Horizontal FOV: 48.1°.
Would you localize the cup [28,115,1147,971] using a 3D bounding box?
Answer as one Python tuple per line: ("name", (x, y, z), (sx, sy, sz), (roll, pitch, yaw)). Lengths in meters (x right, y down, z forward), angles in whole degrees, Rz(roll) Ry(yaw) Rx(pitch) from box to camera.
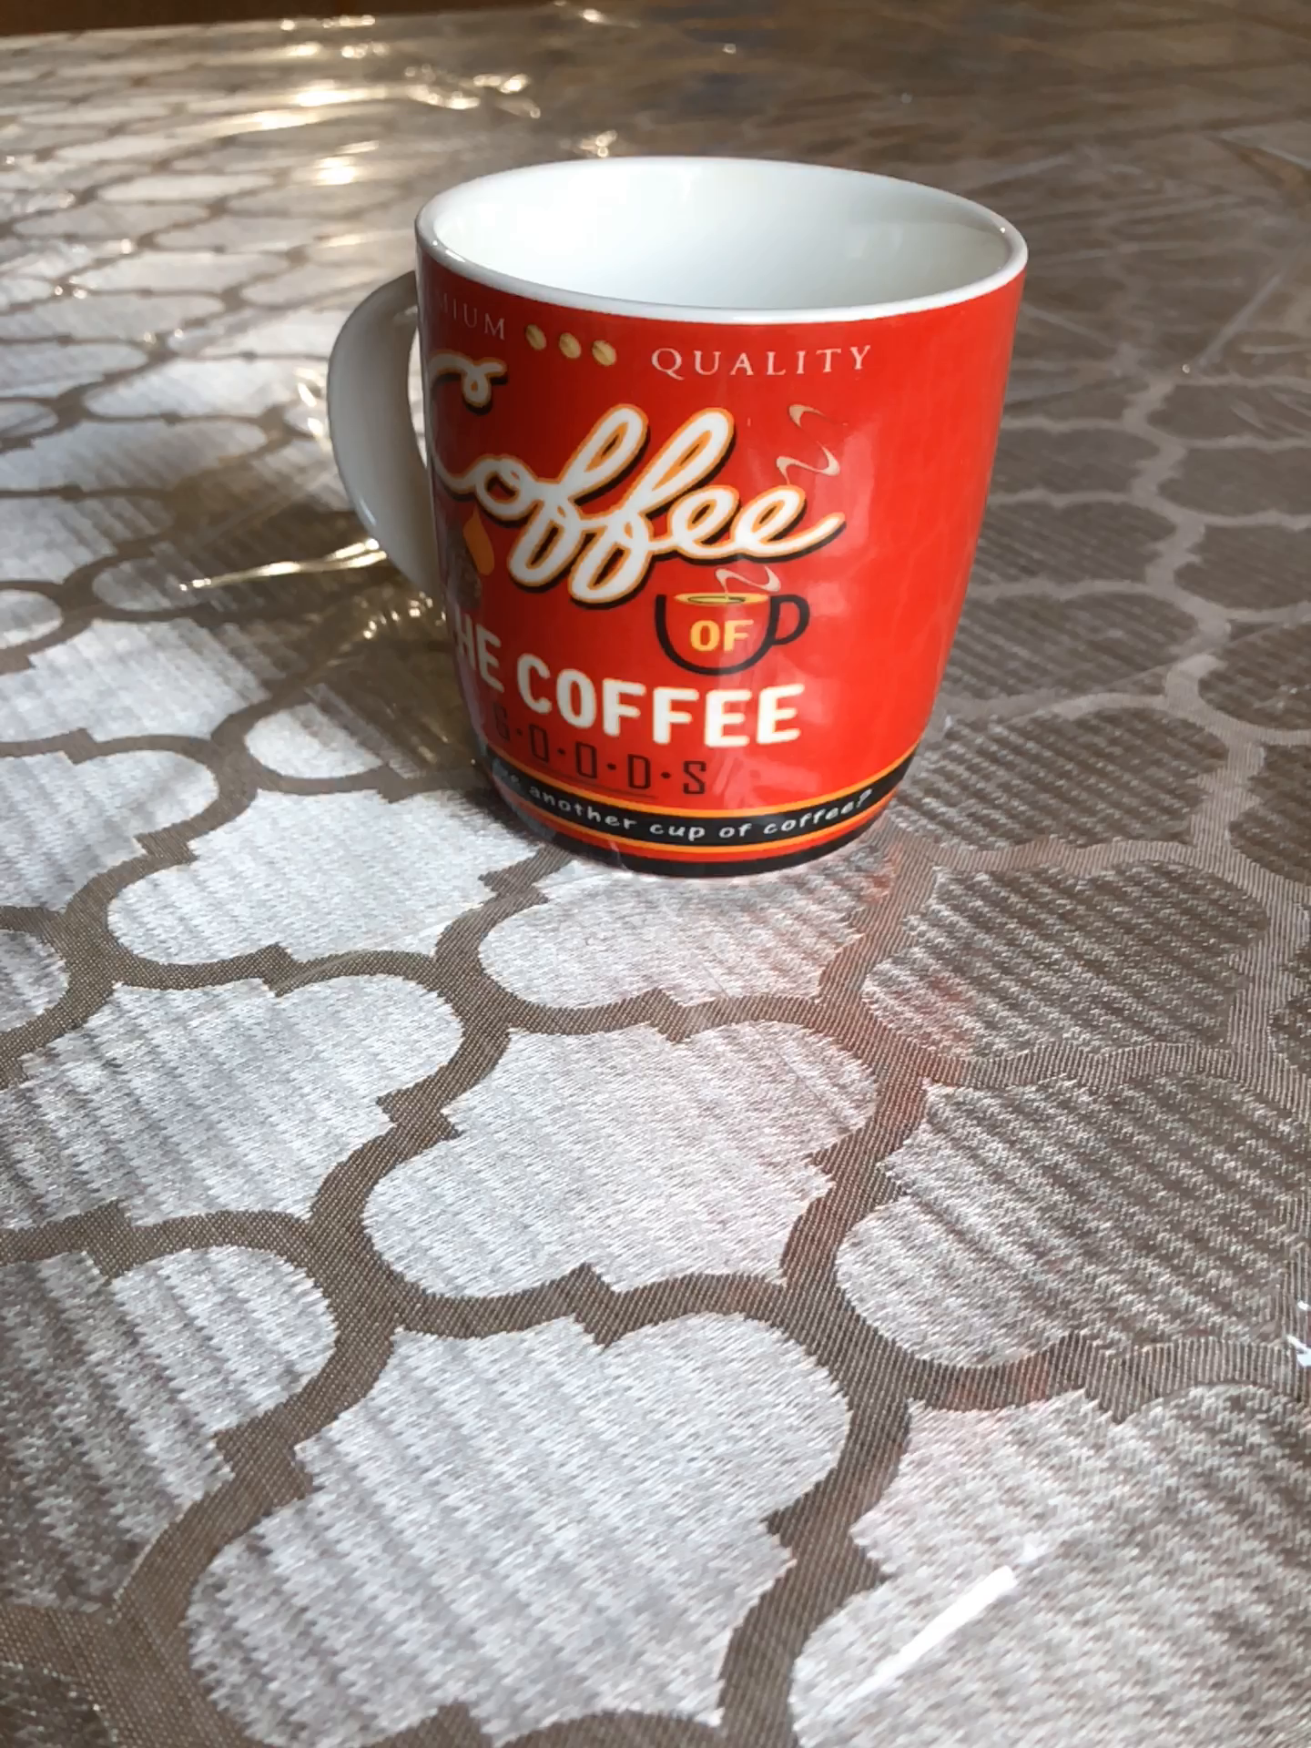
("cup", (-0.004, -0.069, 0.251), (0.130, 0.080, 0.121), (1, 36, -1))
